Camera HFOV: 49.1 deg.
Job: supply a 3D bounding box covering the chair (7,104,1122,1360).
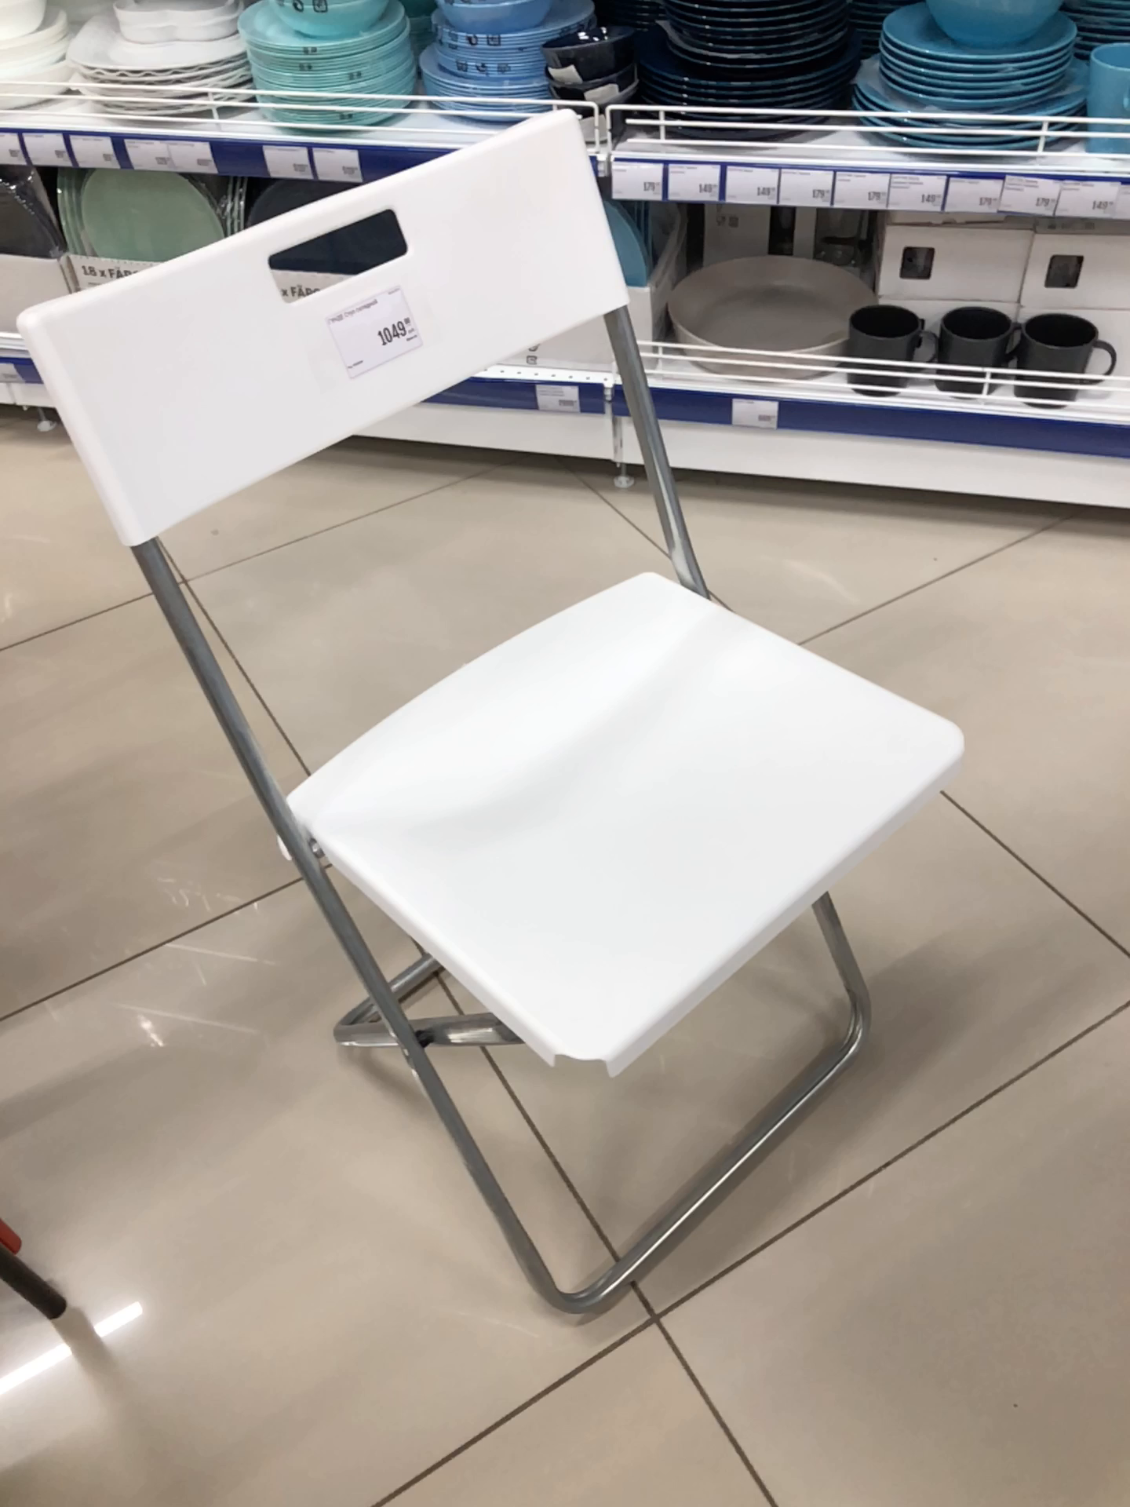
[{"bbox_3d":[0.009,0.003,0.920,0.427,0.711,0.431,-35,52,-27],"label":"chair"}]
